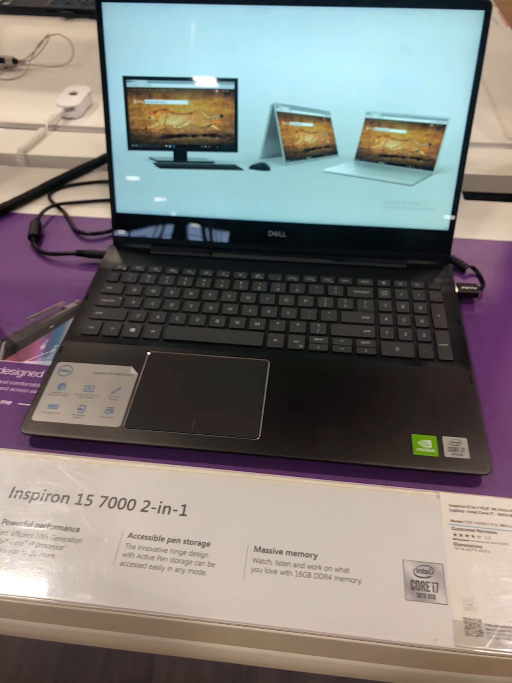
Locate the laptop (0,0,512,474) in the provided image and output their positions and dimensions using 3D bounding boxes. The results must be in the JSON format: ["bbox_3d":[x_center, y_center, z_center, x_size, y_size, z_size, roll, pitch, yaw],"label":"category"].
[{"bbox_3d":[0.010,-0.109,0.449,0.340,0.207,0.325,4,45,5],"label":"laptop"}]
